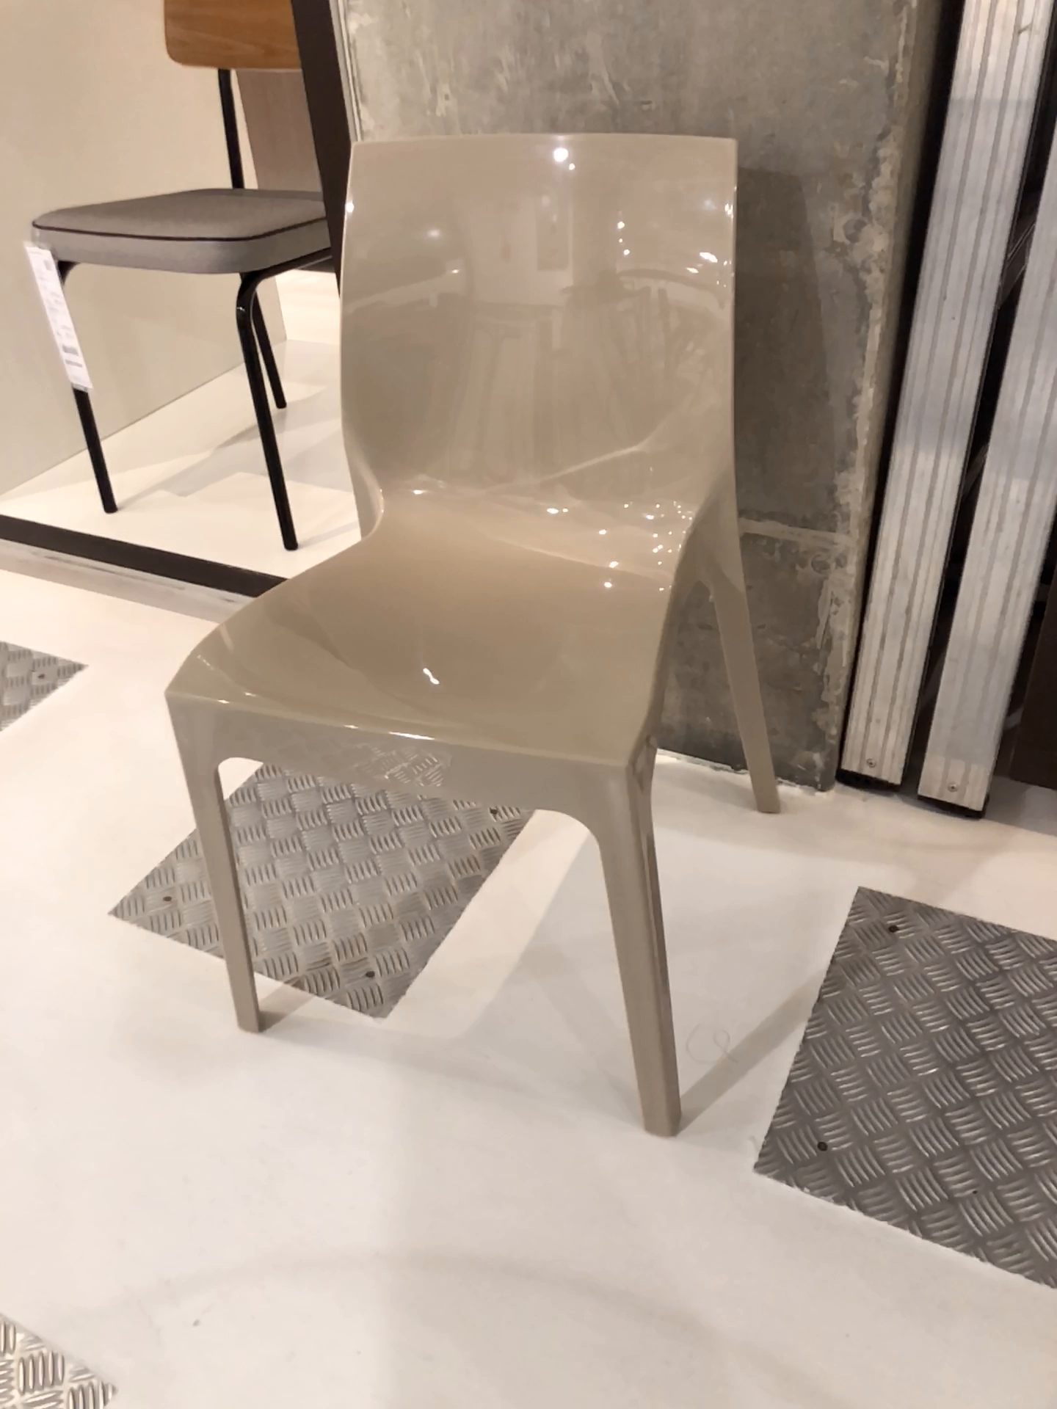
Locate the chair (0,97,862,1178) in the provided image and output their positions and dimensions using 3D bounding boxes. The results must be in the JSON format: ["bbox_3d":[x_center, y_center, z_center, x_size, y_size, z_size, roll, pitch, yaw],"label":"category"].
[{"bbox_3d":[-0.028,-0.090,1.147,0.550,0.823,0.564,9,38,17],"label":"chair"}]
